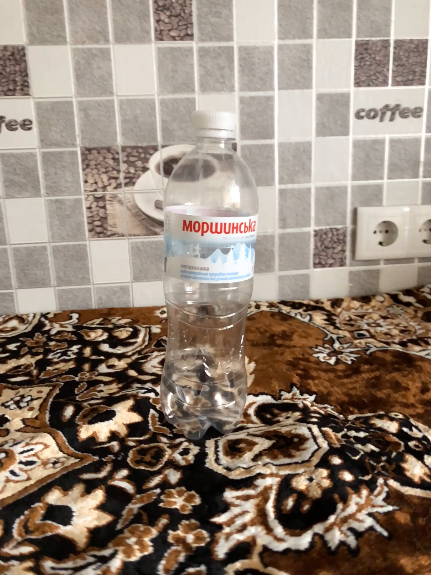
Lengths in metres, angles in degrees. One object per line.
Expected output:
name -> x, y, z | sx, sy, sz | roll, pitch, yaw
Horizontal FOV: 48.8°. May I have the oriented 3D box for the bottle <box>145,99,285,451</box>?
bottle -> -0.007, -0.009, 0.372 | 0.090, 0.249, 0.080 | -1, 15, -8
